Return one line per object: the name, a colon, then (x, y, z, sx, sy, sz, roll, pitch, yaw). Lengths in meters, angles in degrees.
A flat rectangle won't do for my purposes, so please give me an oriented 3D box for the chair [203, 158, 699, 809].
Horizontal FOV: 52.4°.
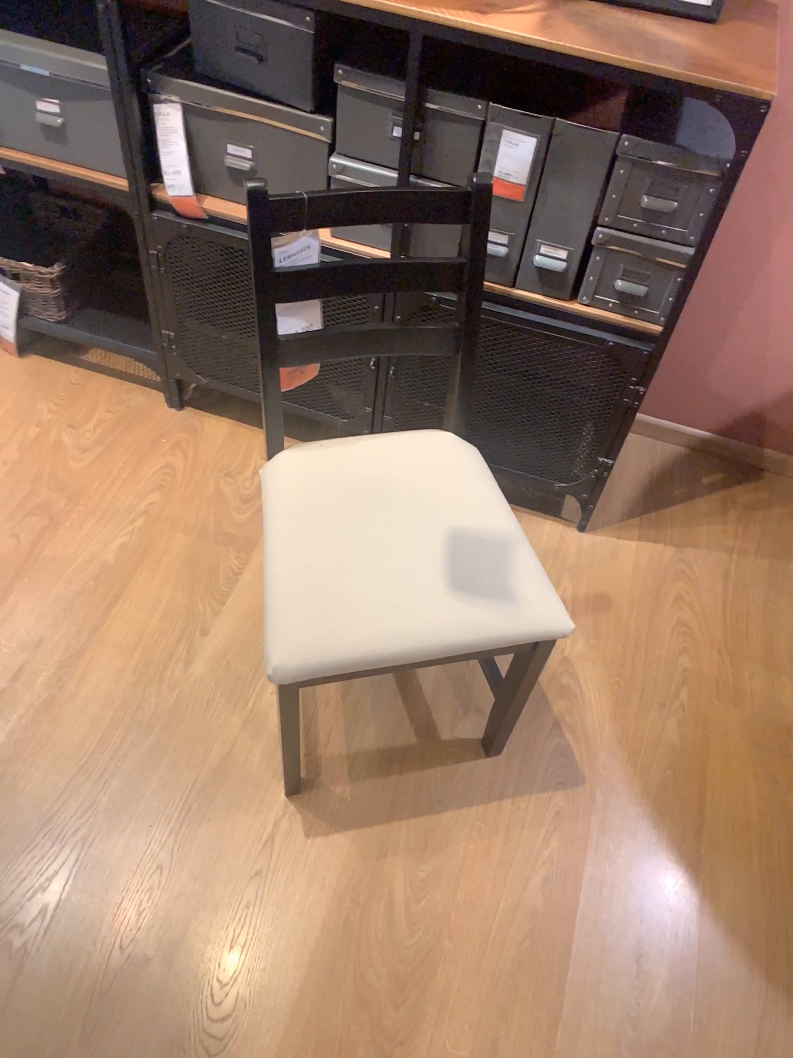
chair: (-0.009, -0.014, 1.113, 0.400, 0.768, 0.471, -7, 53, -11)
